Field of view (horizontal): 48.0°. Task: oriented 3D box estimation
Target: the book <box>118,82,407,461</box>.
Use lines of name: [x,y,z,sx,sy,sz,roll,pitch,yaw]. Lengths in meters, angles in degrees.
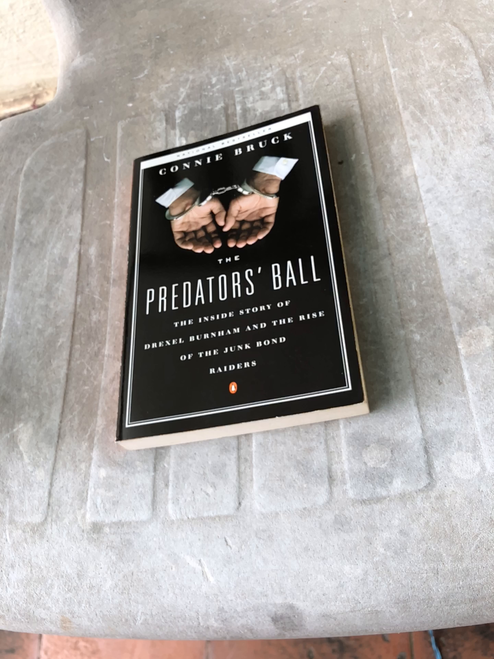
book: [0.001,-0.040,0.323,0.140,0.030,0.210,-11,61,15]
